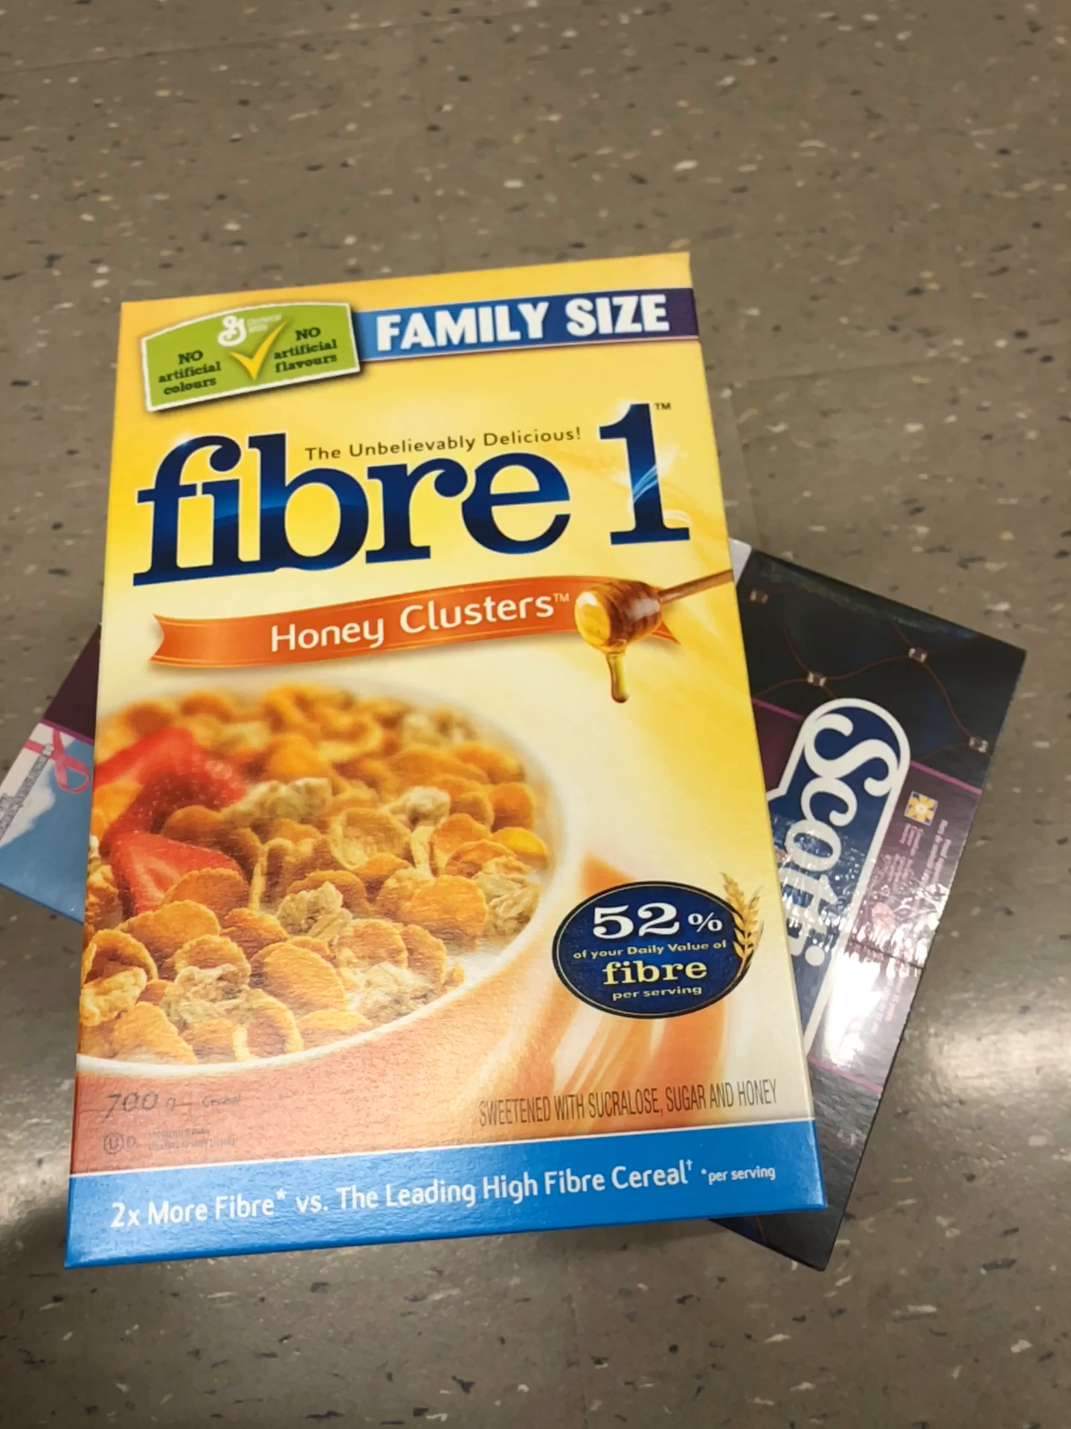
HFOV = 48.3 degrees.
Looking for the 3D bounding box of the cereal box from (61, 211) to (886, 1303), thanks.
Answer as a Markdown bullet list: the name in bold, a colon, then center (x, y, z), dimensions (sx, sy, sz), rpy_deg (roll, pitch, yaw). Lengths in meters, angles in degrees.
- **cereal box**: center (-0.026, 0.000, 0.385), dimensions (0.200, 0.080, 0.320), rpy_deg (-5, 68, 0)
